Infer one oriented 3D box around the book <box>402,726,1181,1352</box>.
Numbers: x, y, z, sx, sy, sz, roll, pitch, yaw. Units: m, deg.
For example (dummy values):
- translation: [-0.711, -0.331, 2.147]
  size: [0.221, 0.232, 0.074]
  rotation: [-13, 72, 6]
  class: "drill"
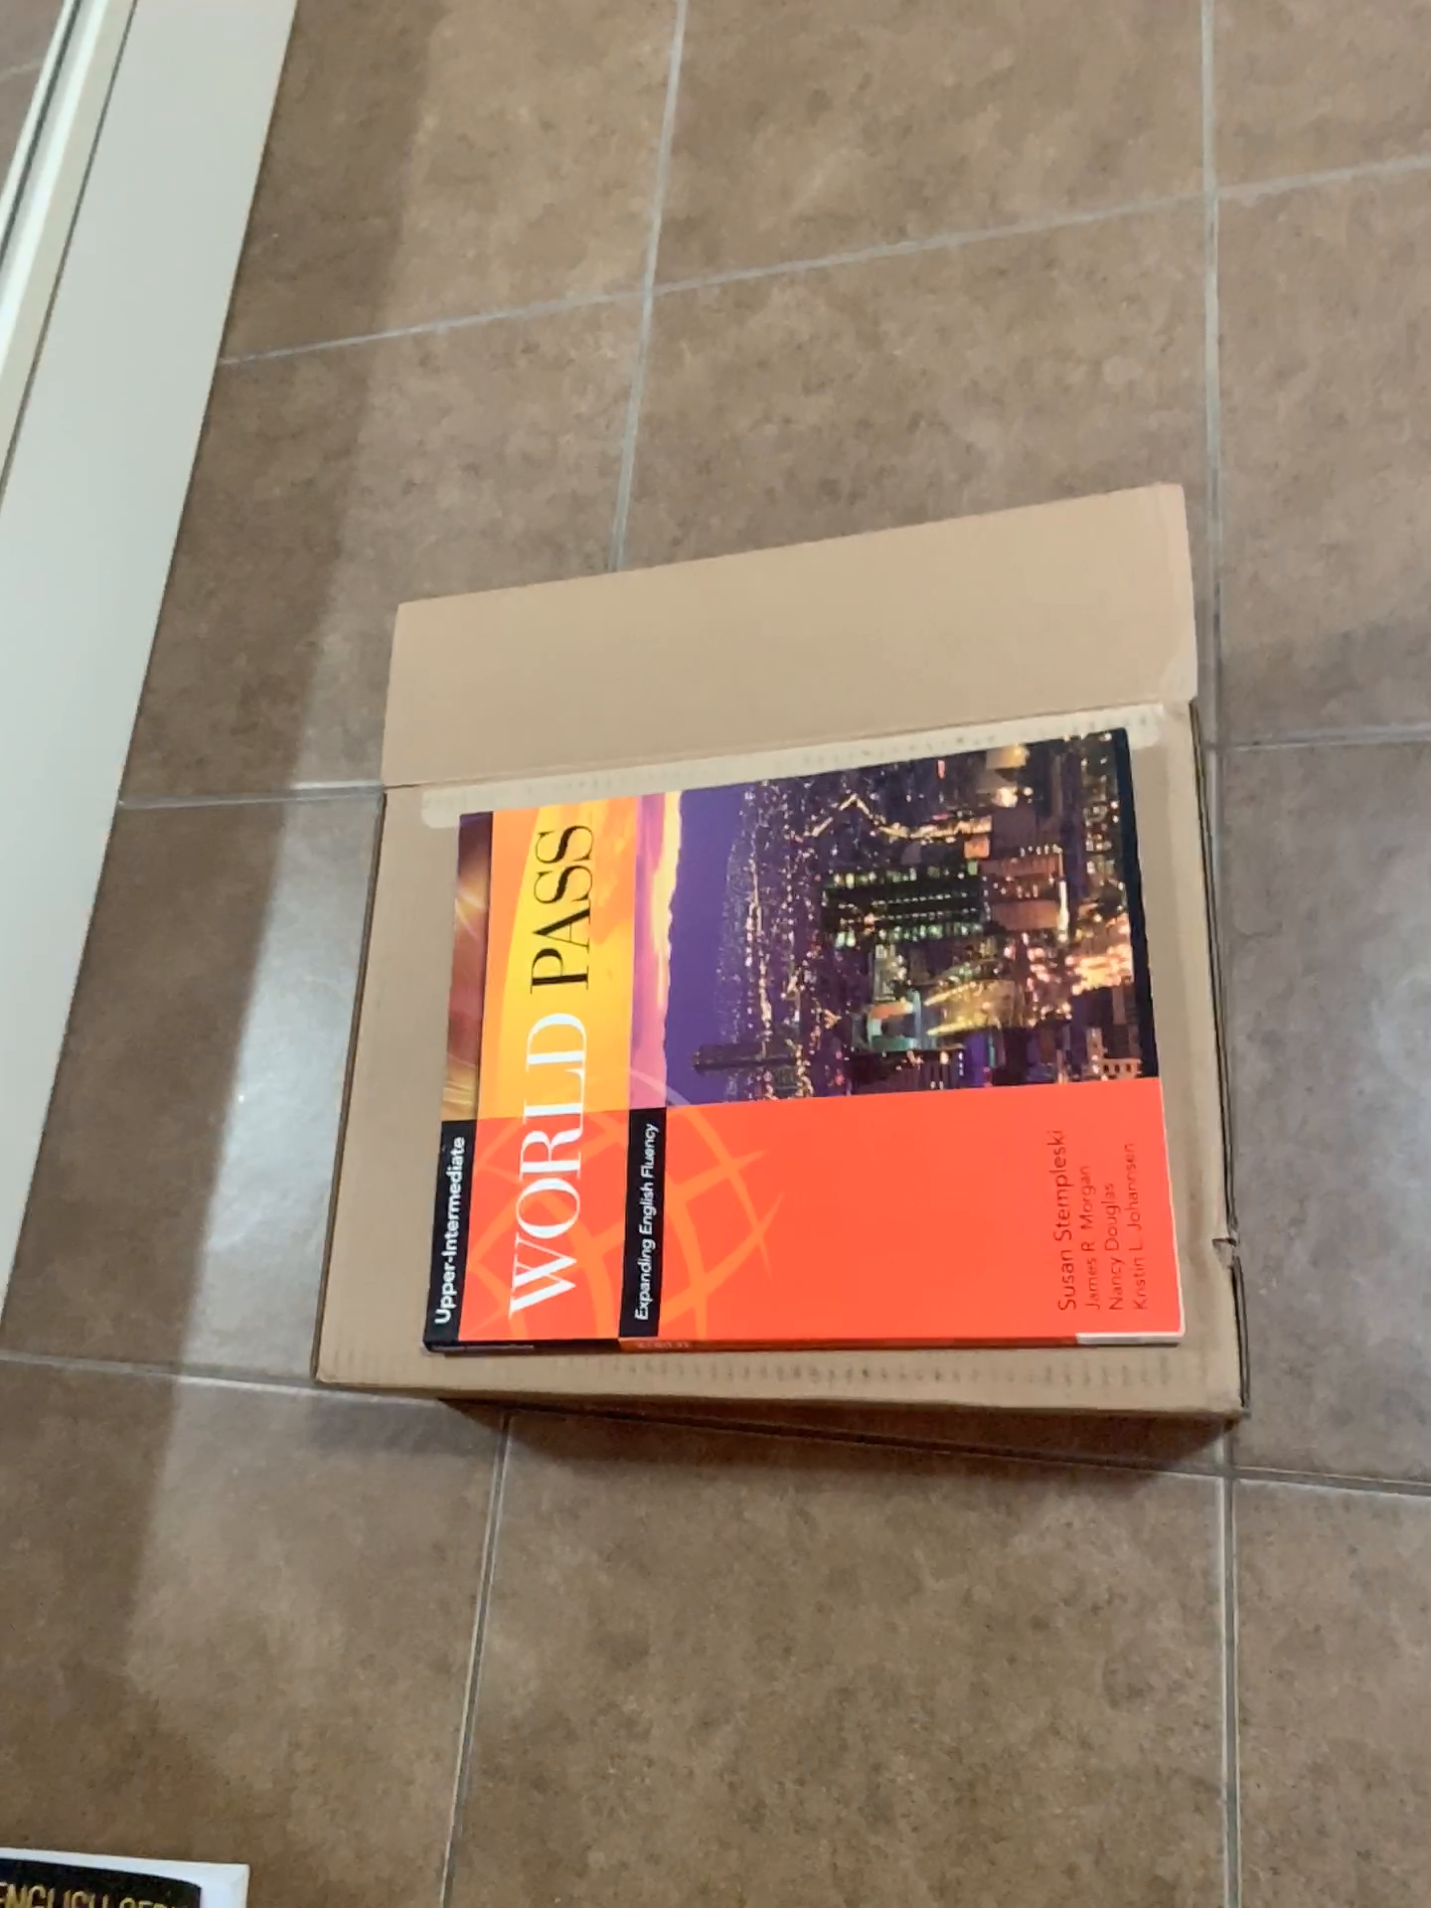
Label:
- translation: [0.018, 0.034, 0.532]
  size: [0.270, 0.018, 0.211]
  rotation: [-5, 71, 18]
  class: "book"
